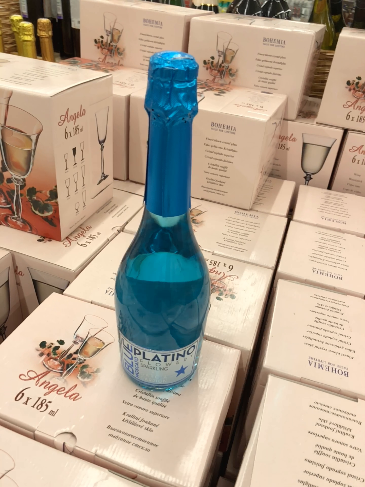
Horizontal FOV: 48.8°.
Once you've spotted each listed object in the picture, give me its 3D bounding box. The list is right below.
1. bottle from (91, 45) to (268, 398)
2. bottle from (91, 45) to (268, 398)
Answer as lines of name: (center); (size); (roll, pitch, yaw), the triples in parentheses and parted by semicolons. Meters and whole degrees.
bottle: (-0.010, -0.004, 0.344); (0.100, 0.278, 0.101); (4, 33, -3)
bottle: (-0.010, -0.004, 0.344); (0.100, 0.278, 0.101); (4, 33, -3)
